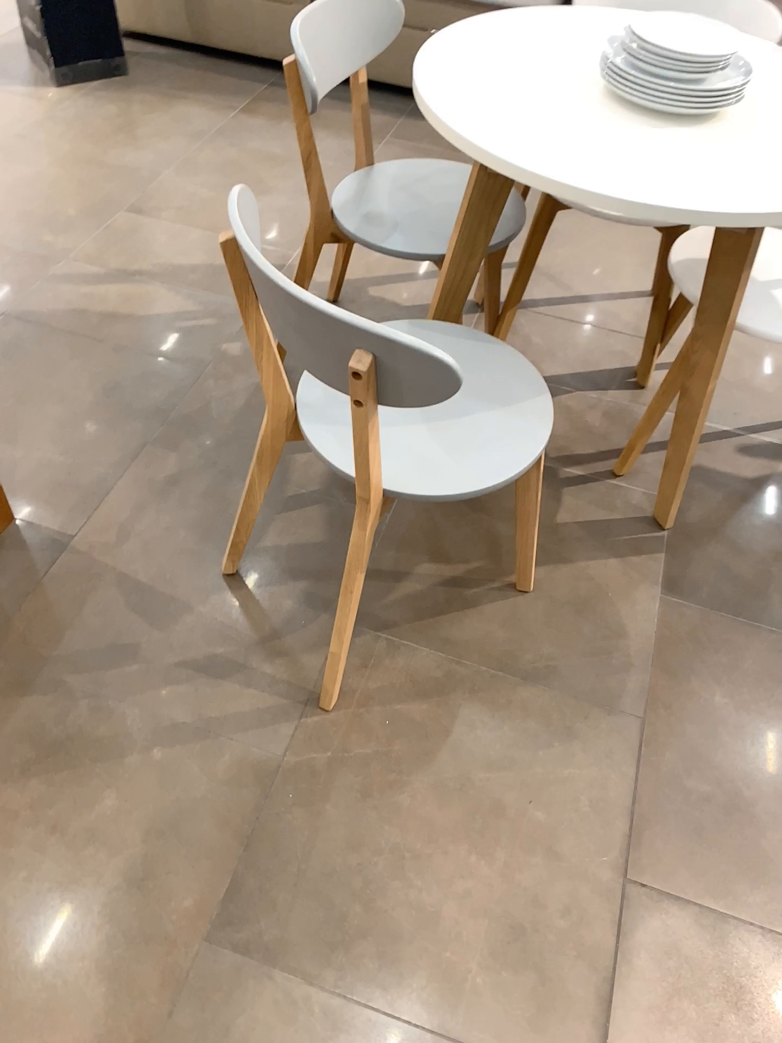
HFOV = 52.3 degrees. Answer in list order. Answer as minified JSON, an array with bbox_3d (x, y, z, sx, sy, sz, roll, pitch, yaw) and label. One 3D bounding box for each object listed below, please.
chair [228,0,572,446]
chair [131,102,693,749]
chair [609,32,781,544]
[{"bbox_3d":[0.017,-0.709,1.861,0.540,0.799,0.524,17,49,10],"label":"chair"},{"bbox_3d":[-0.004,-0.141,1.340,0.532,0.799,0.522,-28,57,-26],"label":"chair"},{"bbox_3d":[0.887,-0.474,1.708,0.541,0.799,0.523,18,50,10],"label":"chair"}]
